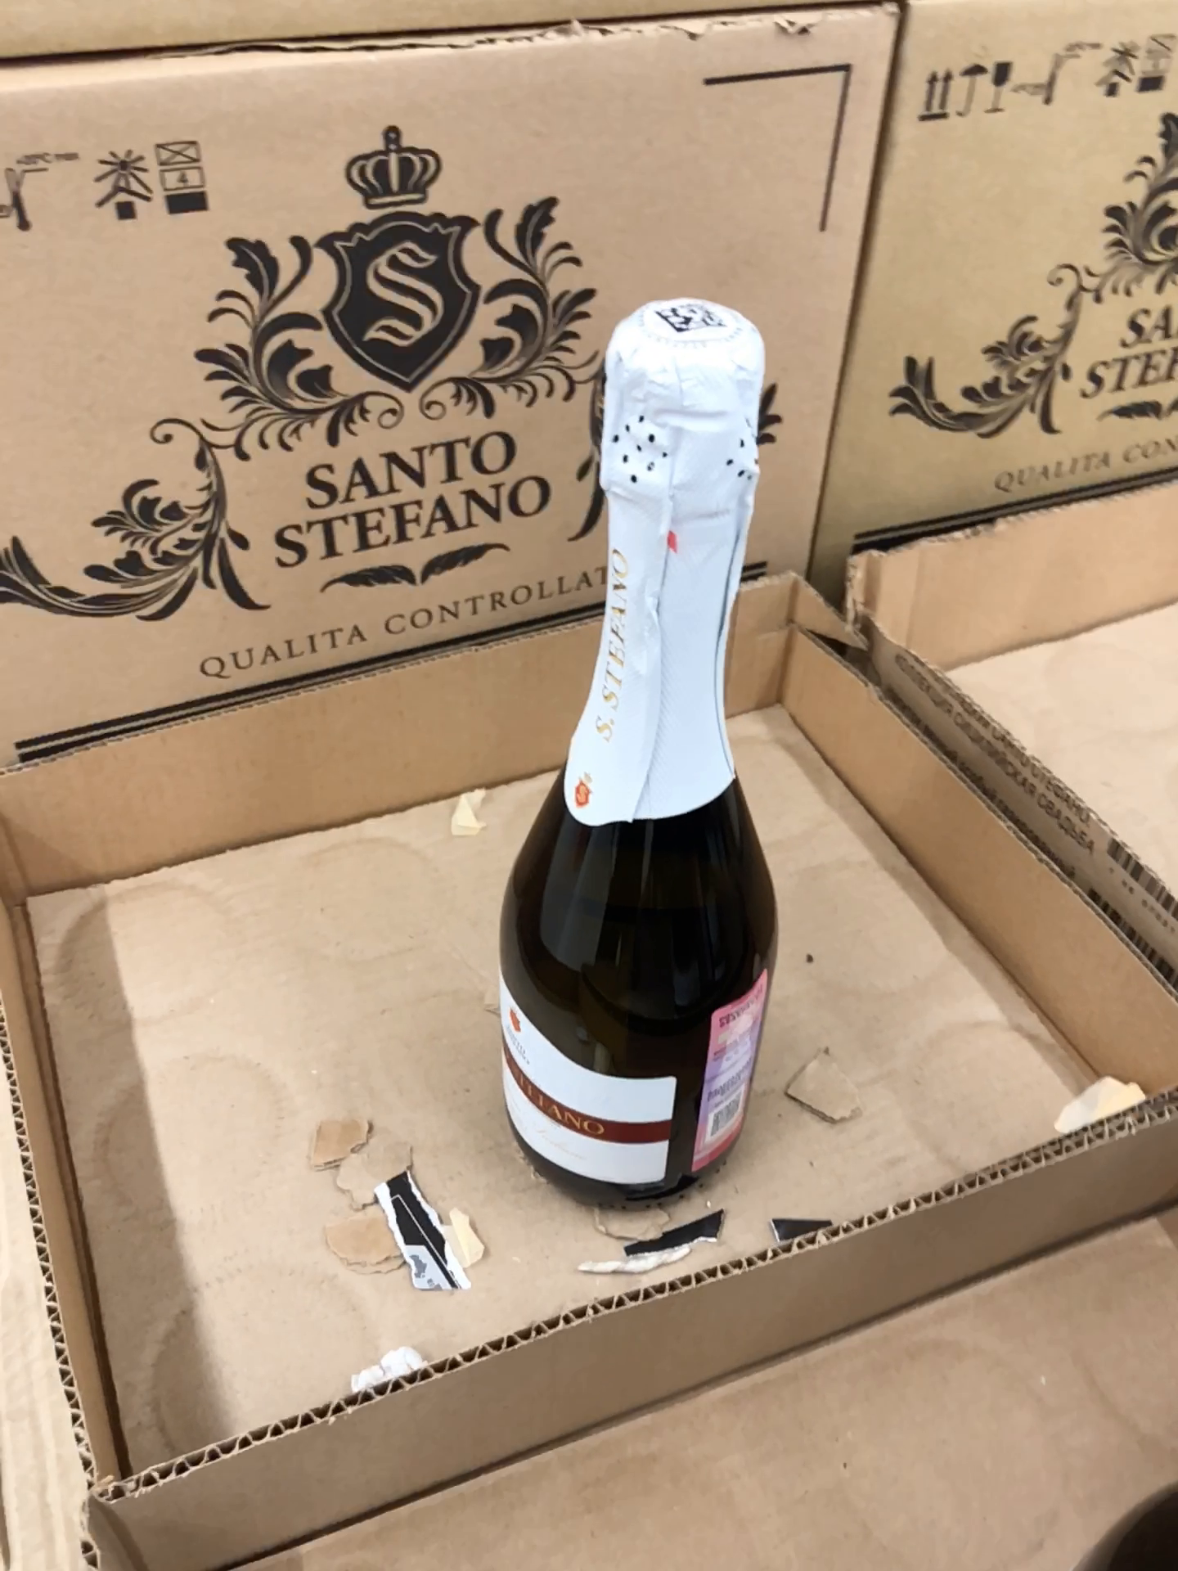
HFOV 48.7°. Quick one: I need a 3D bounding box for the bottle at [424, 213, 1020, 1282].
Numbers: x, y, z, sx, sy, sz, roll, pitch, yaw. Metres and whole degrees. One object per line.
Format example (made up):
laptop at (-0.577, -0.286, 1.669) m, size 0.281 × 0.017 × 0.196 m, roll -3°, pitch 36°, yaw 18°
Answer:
bottle at (0.023, 0.014, 0.380) m, size 0.090 × 0.308 × 0.090 m, roll 1°, pitch 44°, yaw -1°
